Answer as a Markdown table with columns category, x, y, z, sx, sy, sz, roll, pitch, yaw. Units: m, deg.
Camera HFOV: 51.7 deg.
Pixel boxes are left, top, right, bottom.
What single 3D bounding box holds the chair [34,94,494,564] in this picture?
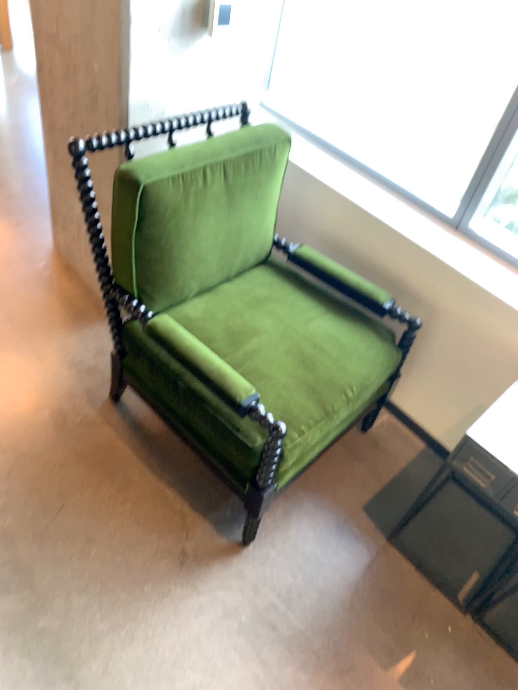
| category | x | y | z | sx | sy | sz | roll | pitch | yaw |
| --- | --- | --- | --- | --- | --- | --- | --- | --- | --- |
| chair | -0.034 | -0.104 | 1.732 | 0.913 | 0.924 | 0.843 | 38 | 48 | 23 |

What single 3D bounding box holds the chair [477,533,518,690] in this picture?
| category | x | y | z | sx | sy | sz | roll | pitch | yaw |
| --- | --- | --- | --- | --- | --- | --- | --- | --- | --- |
| chair | 1.195 | 1.014 | 0.907 | 0.940 | 0.924 | 0.876 | -3 | 46 | -17 |
